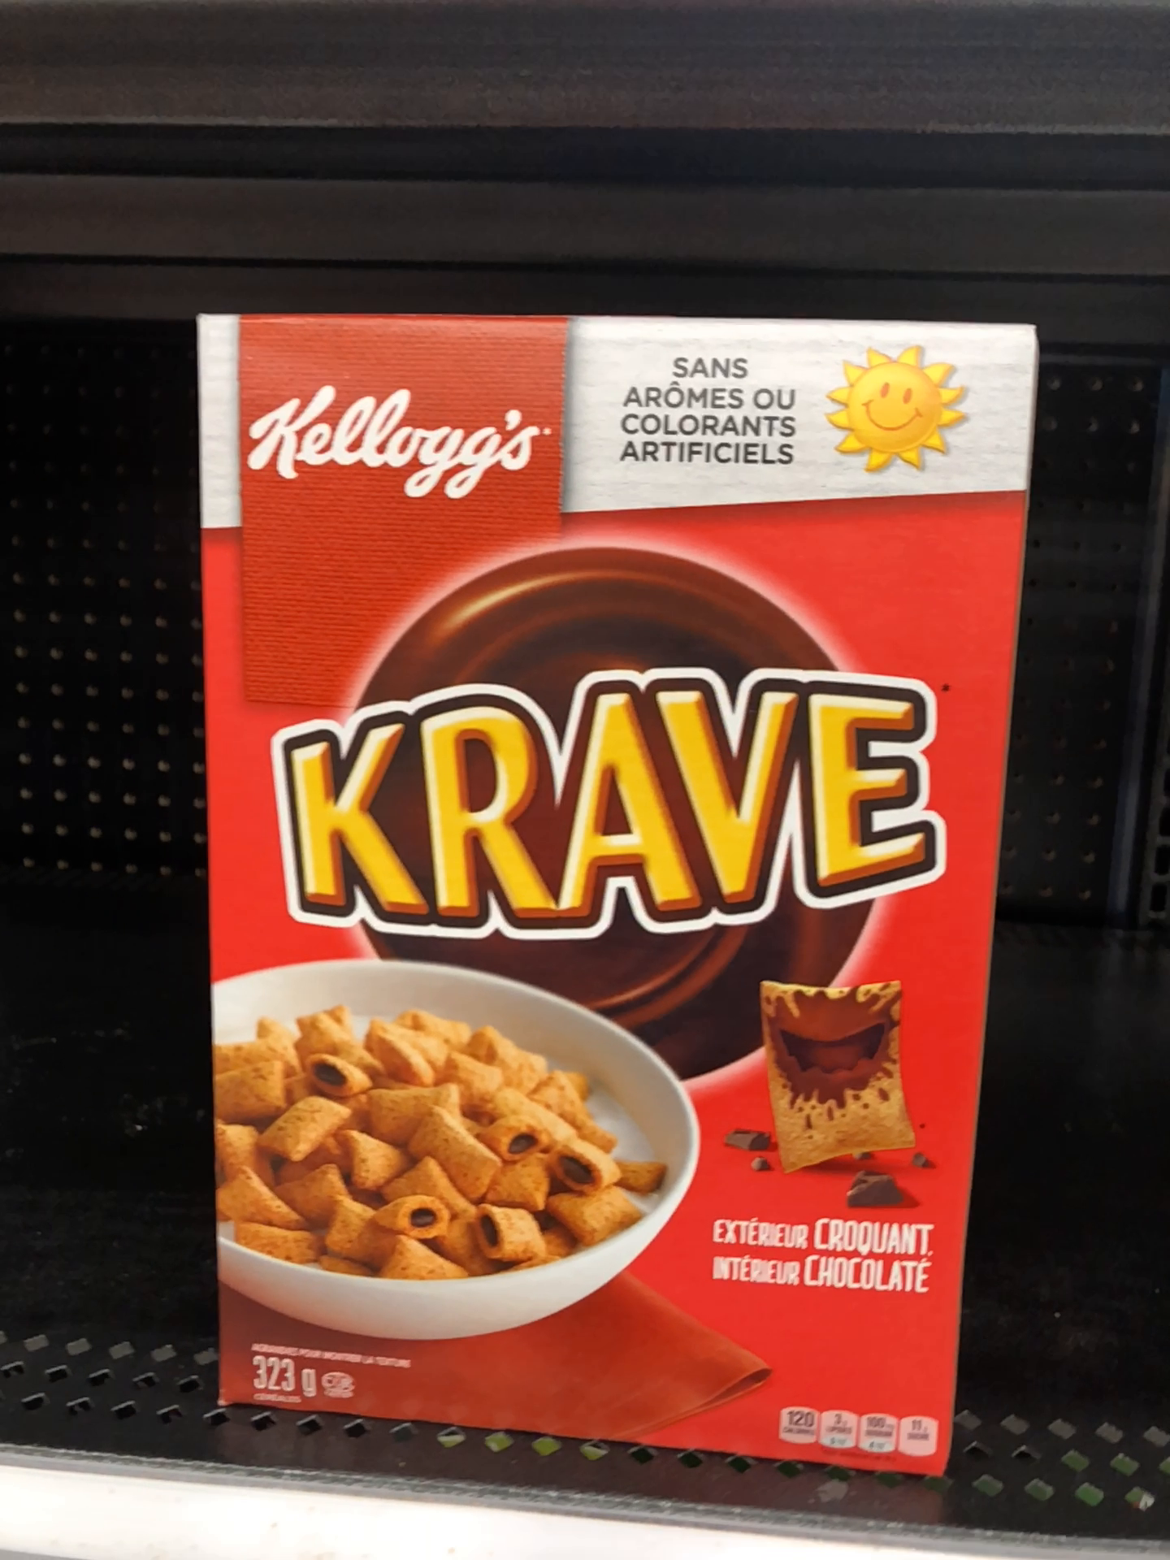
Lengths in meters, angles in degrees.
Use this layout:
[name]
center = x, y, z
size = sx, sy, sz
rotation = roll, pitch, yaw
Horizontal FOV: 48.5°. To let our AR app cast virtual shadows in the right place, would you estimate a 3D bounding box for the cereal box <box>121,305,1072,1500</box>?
[cereal box]
center = -0.004, 0.031, 0.333
size = 0.210, 0.279, 0.050
rotation = 3, 10, 5
